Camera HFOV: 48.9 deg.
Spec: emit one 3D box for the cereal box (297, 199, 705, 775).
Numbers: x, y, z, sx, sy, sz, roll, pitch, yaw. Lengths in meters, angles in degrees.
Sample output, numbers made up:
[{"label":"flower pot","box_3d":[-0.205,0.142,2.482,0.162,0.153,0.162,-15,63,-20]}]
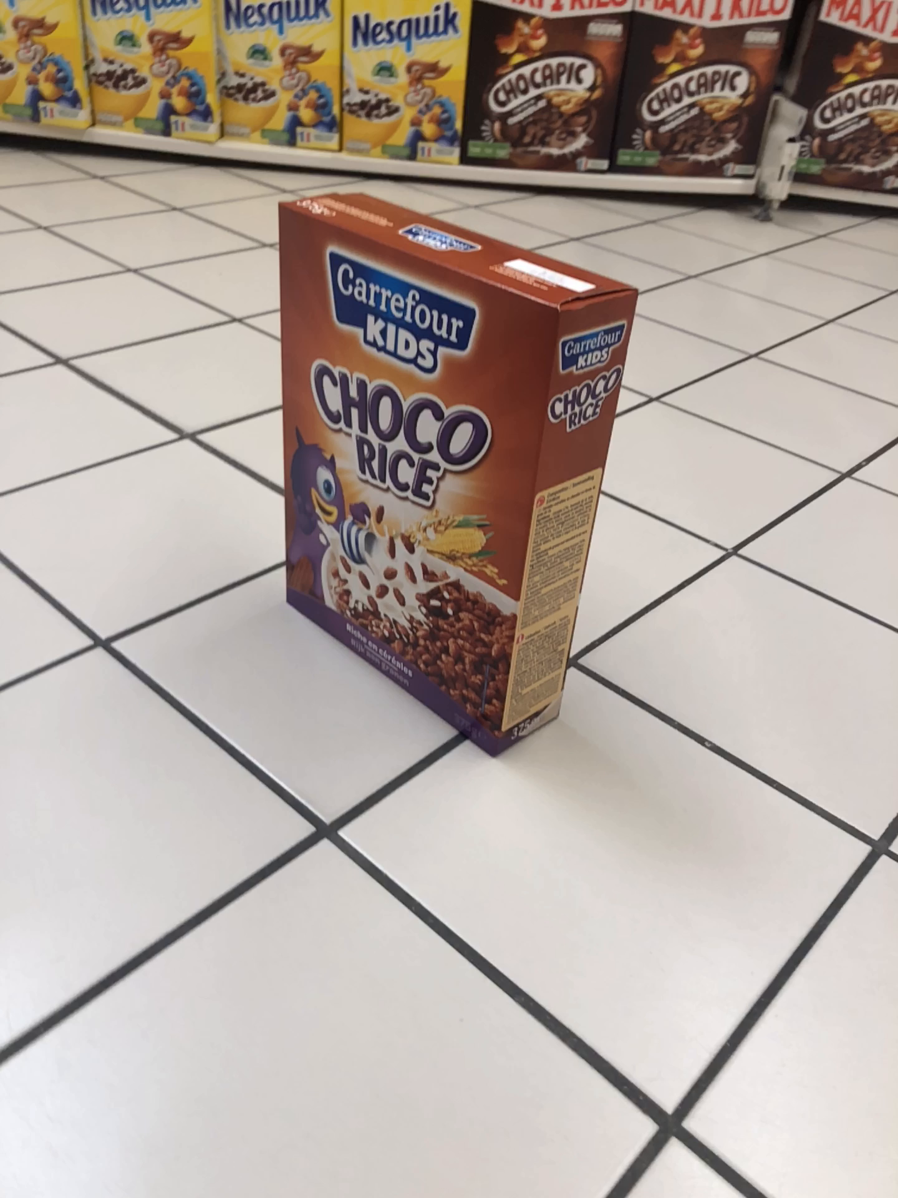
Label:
[{"label":"cereal box","box_3d":[0.008,-0.064,0.530,0.070,0.238,0.200,-25,44,-37]}]
